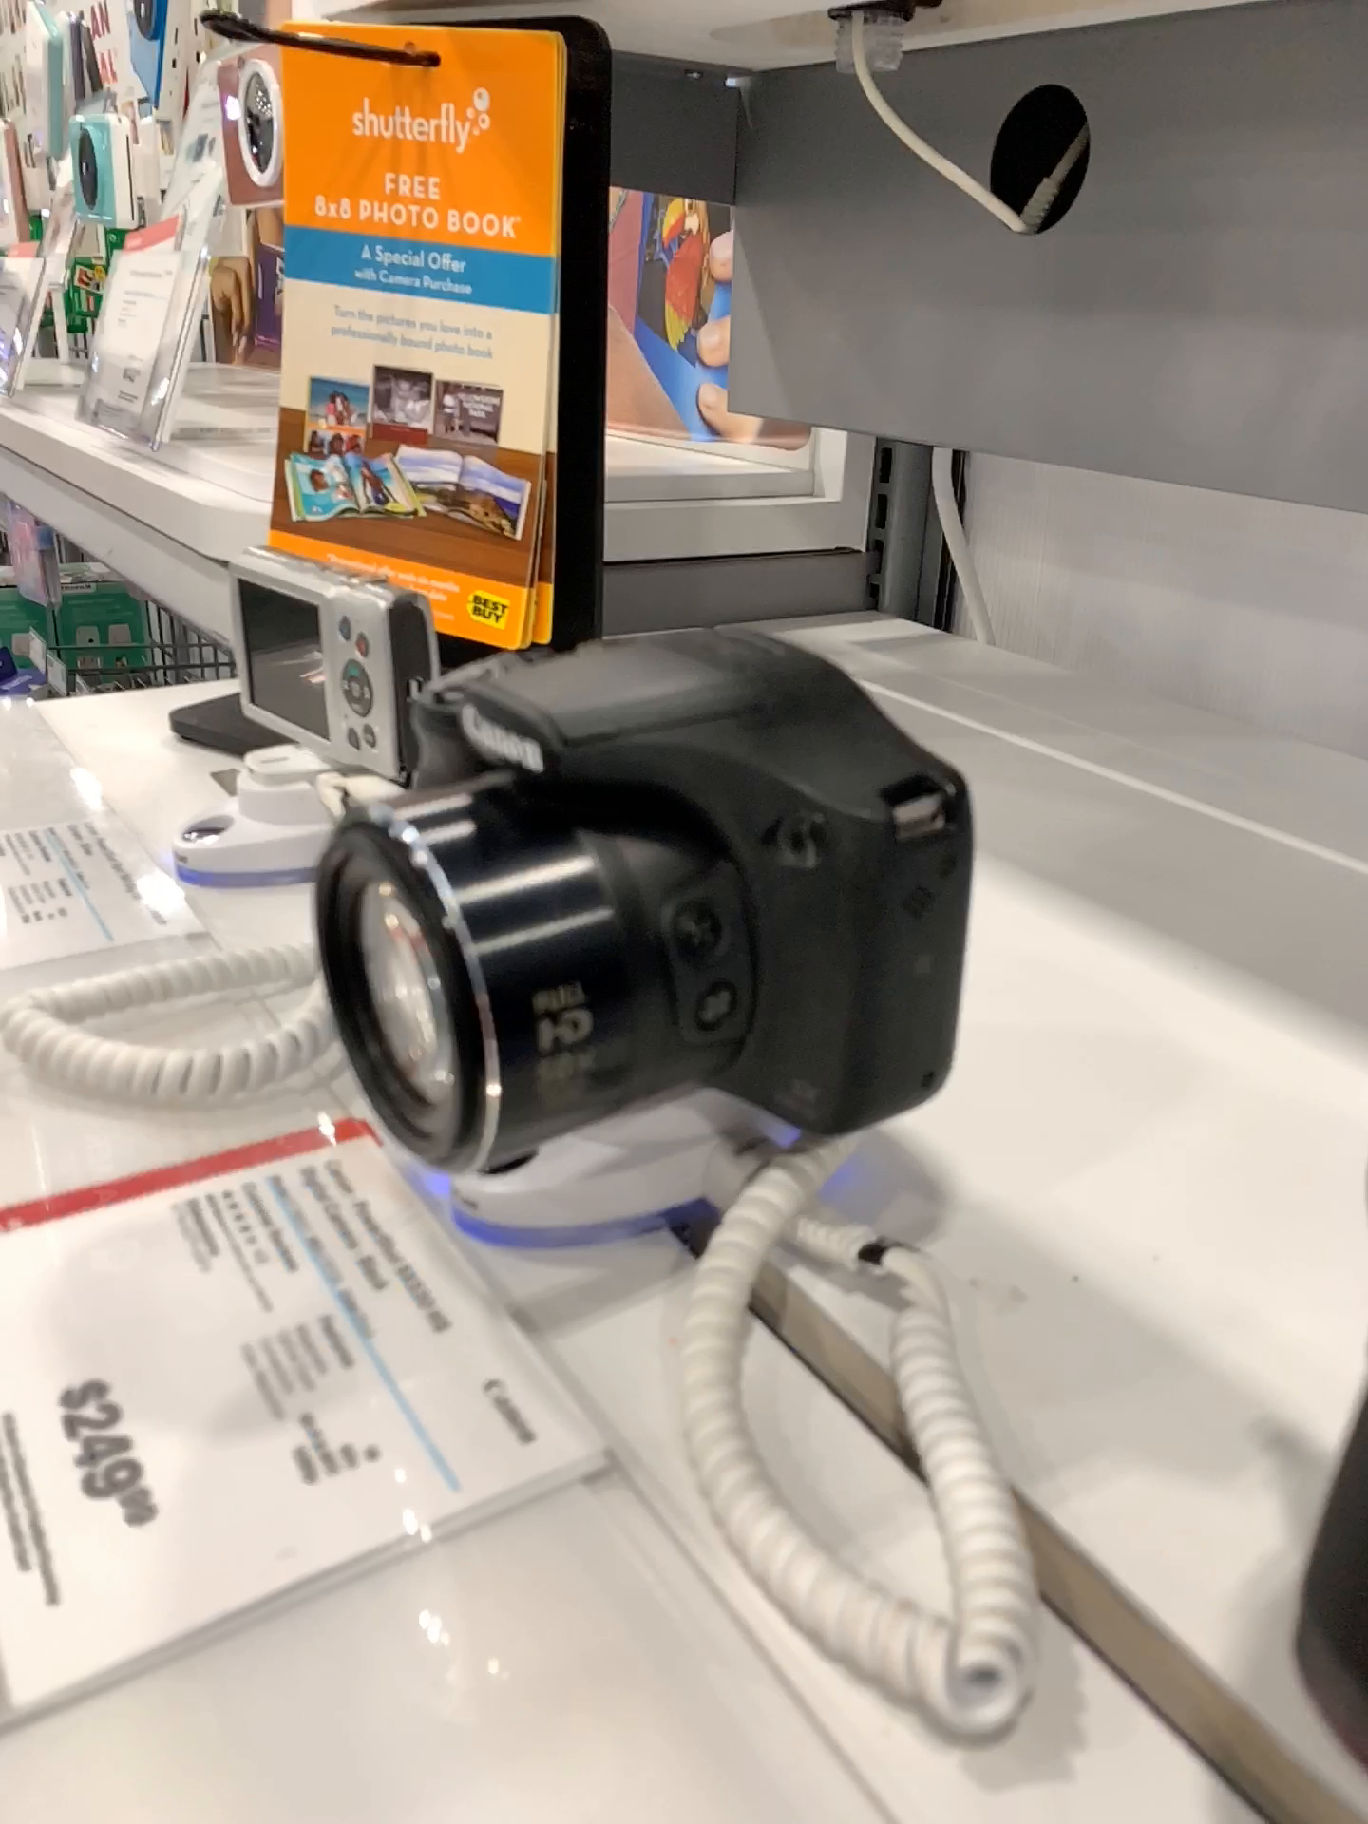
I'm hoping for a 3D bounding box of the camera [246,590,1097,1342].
[{"bbox_3d":[-0.010,-0.005,0.259,0.100,0.080,0.120,-12,27,-30],"label":"camera"}]
